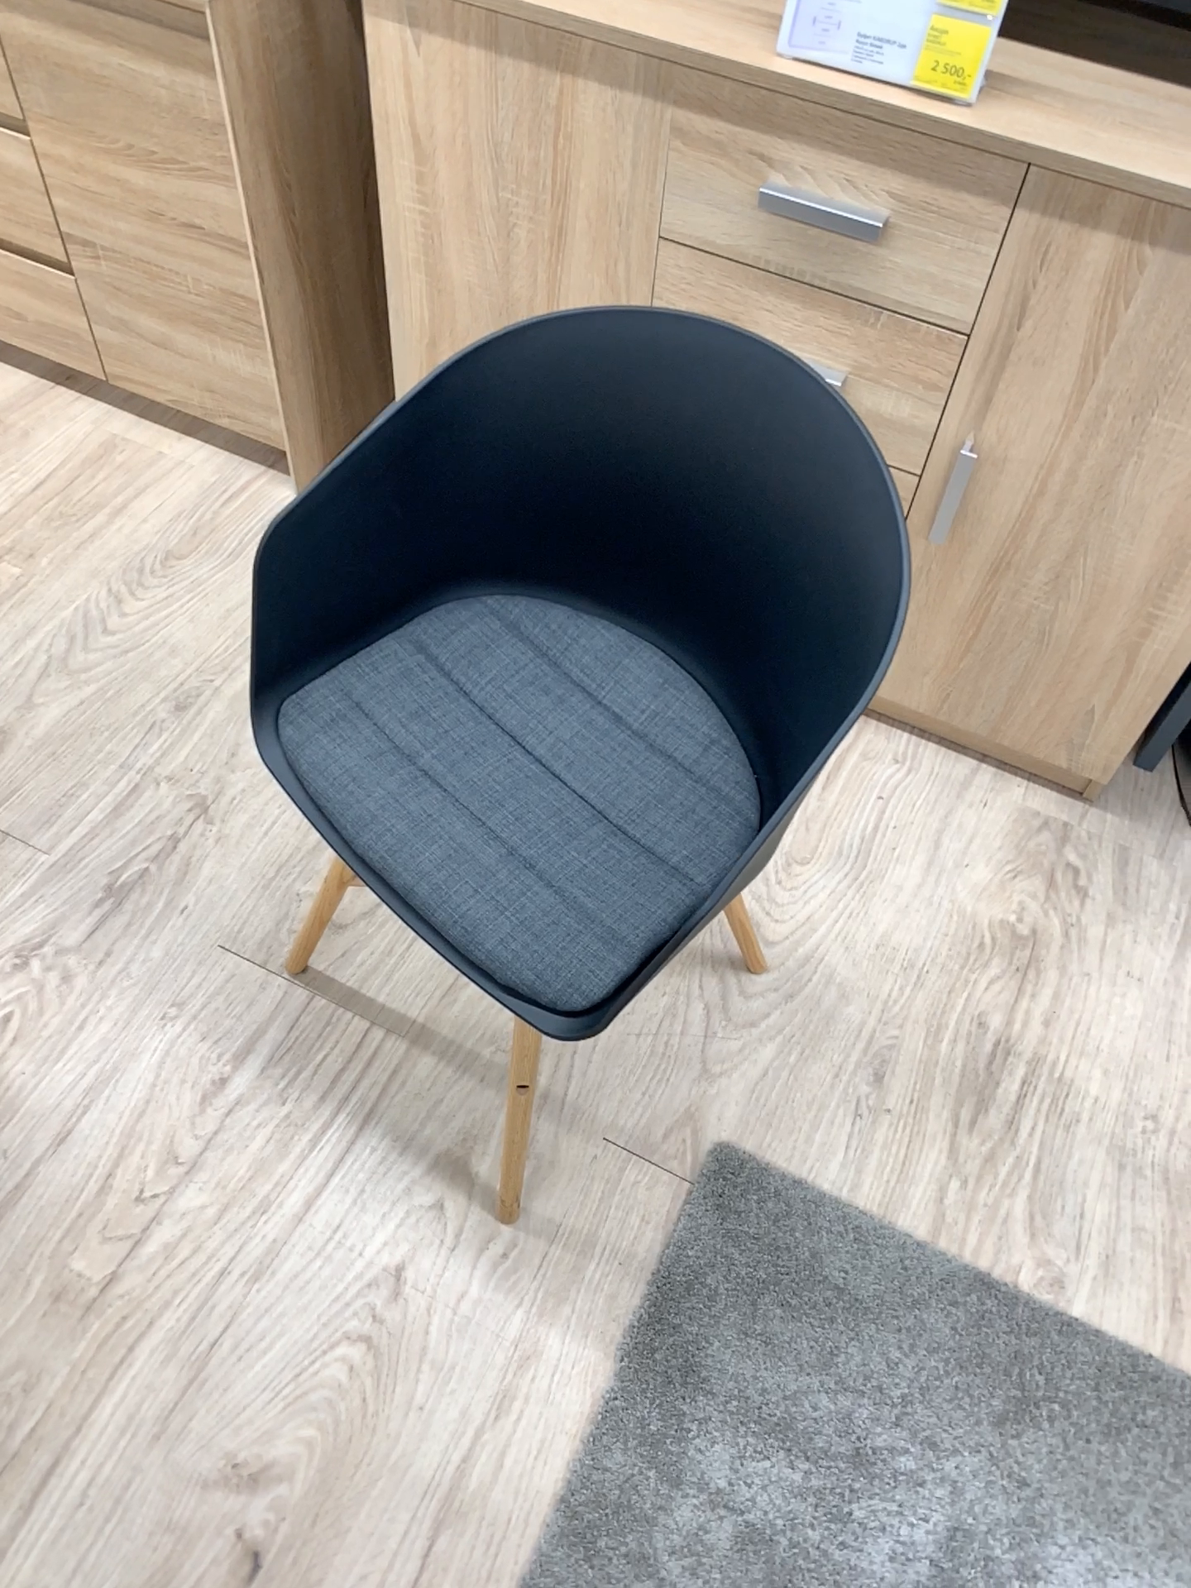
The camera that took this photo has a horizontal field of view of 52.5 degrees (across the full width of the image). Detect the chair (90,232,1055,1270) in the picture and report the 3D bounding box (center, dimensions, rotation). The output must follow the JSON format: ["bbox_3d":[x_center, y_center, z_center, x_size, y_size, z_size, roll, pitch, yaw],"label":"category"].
[{"bbox_3d":[-0.031,-0.007,1.252,0.511,0.787,0.551,40,60,23],"label":"chair"}]
